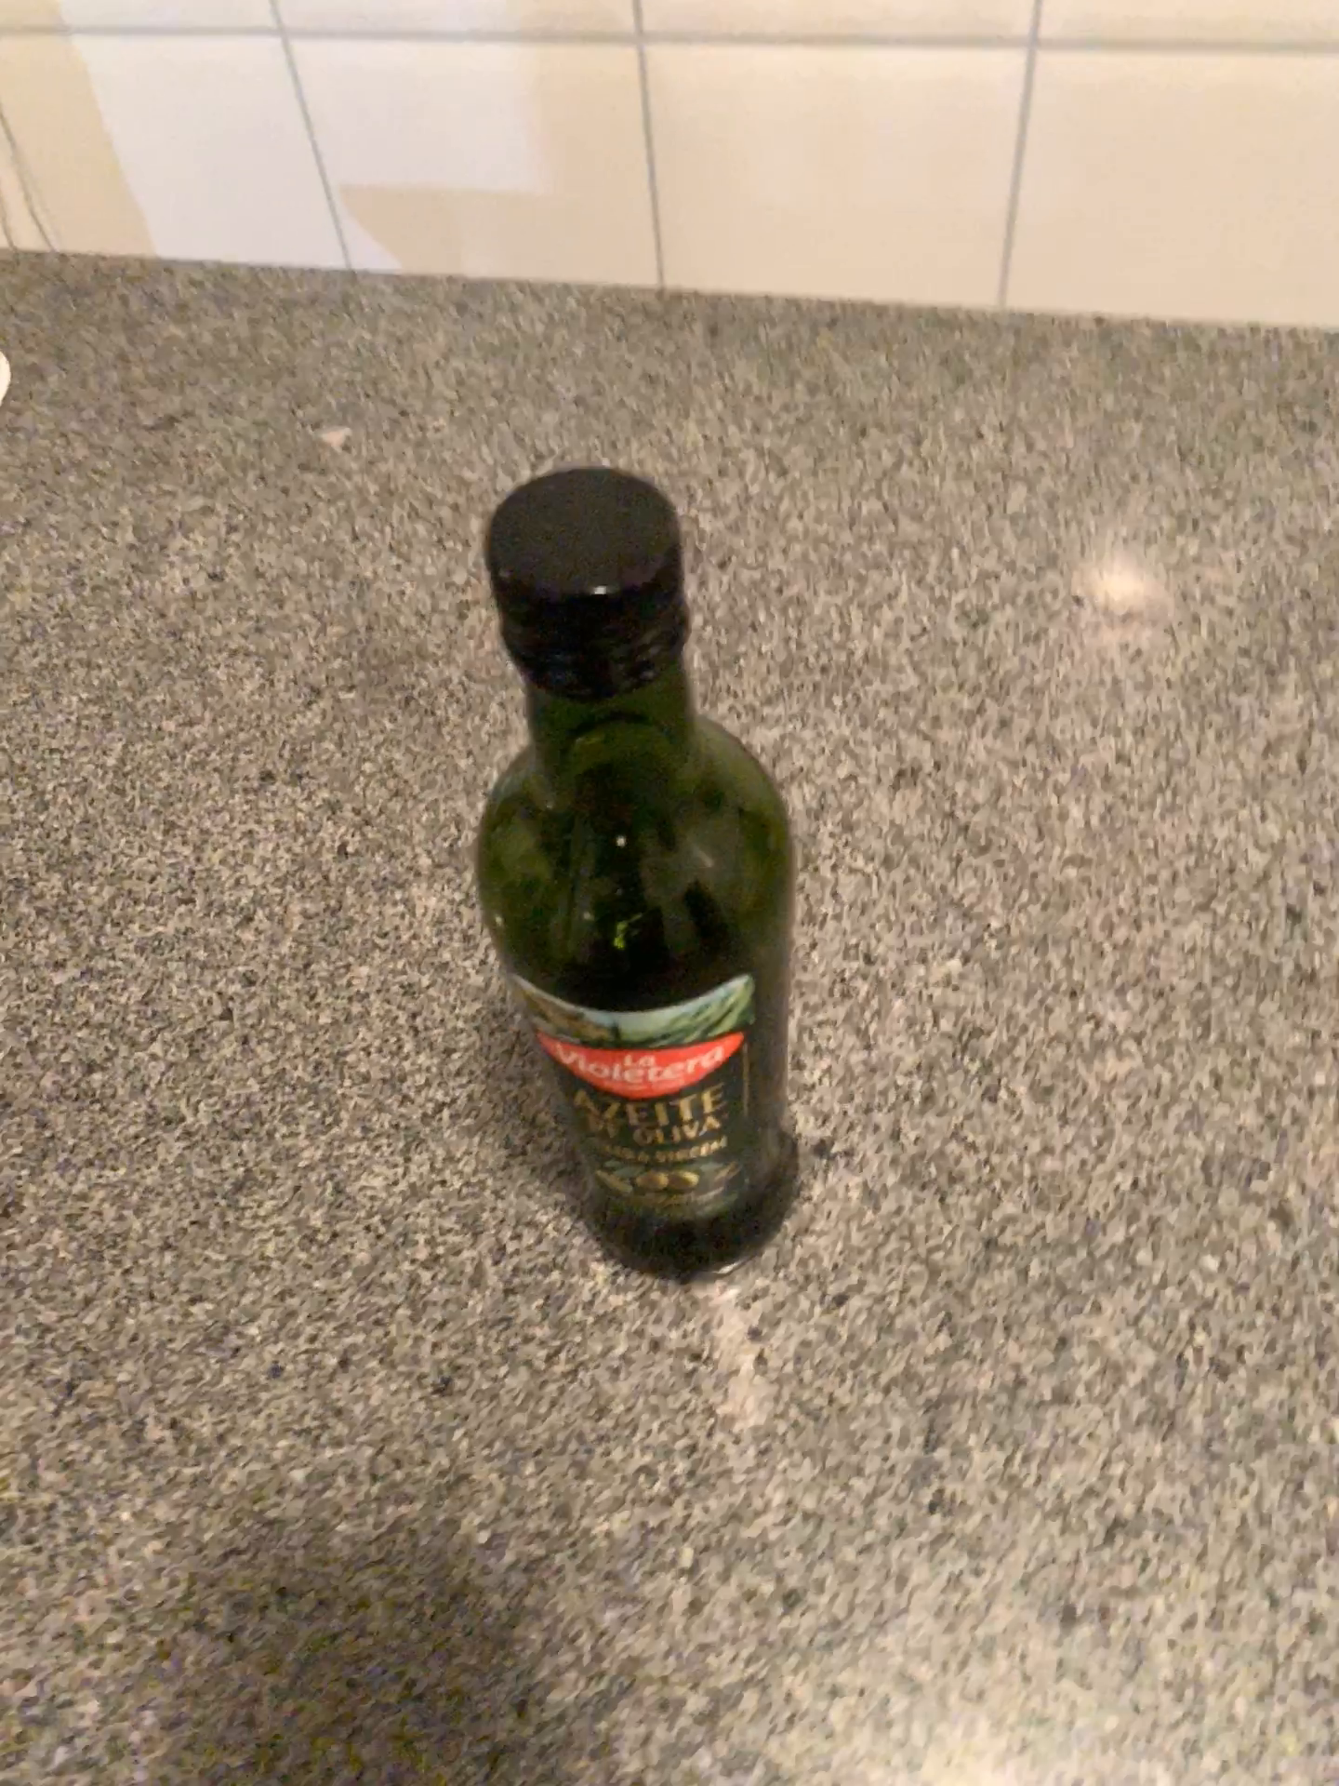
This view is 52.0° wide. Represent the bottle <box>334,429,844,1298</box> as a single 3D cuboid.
[{"bbox_3d":[0.000,0.018,0.303,0.070,0.239,0.060,2,55,7],"label":"bottle"}]
